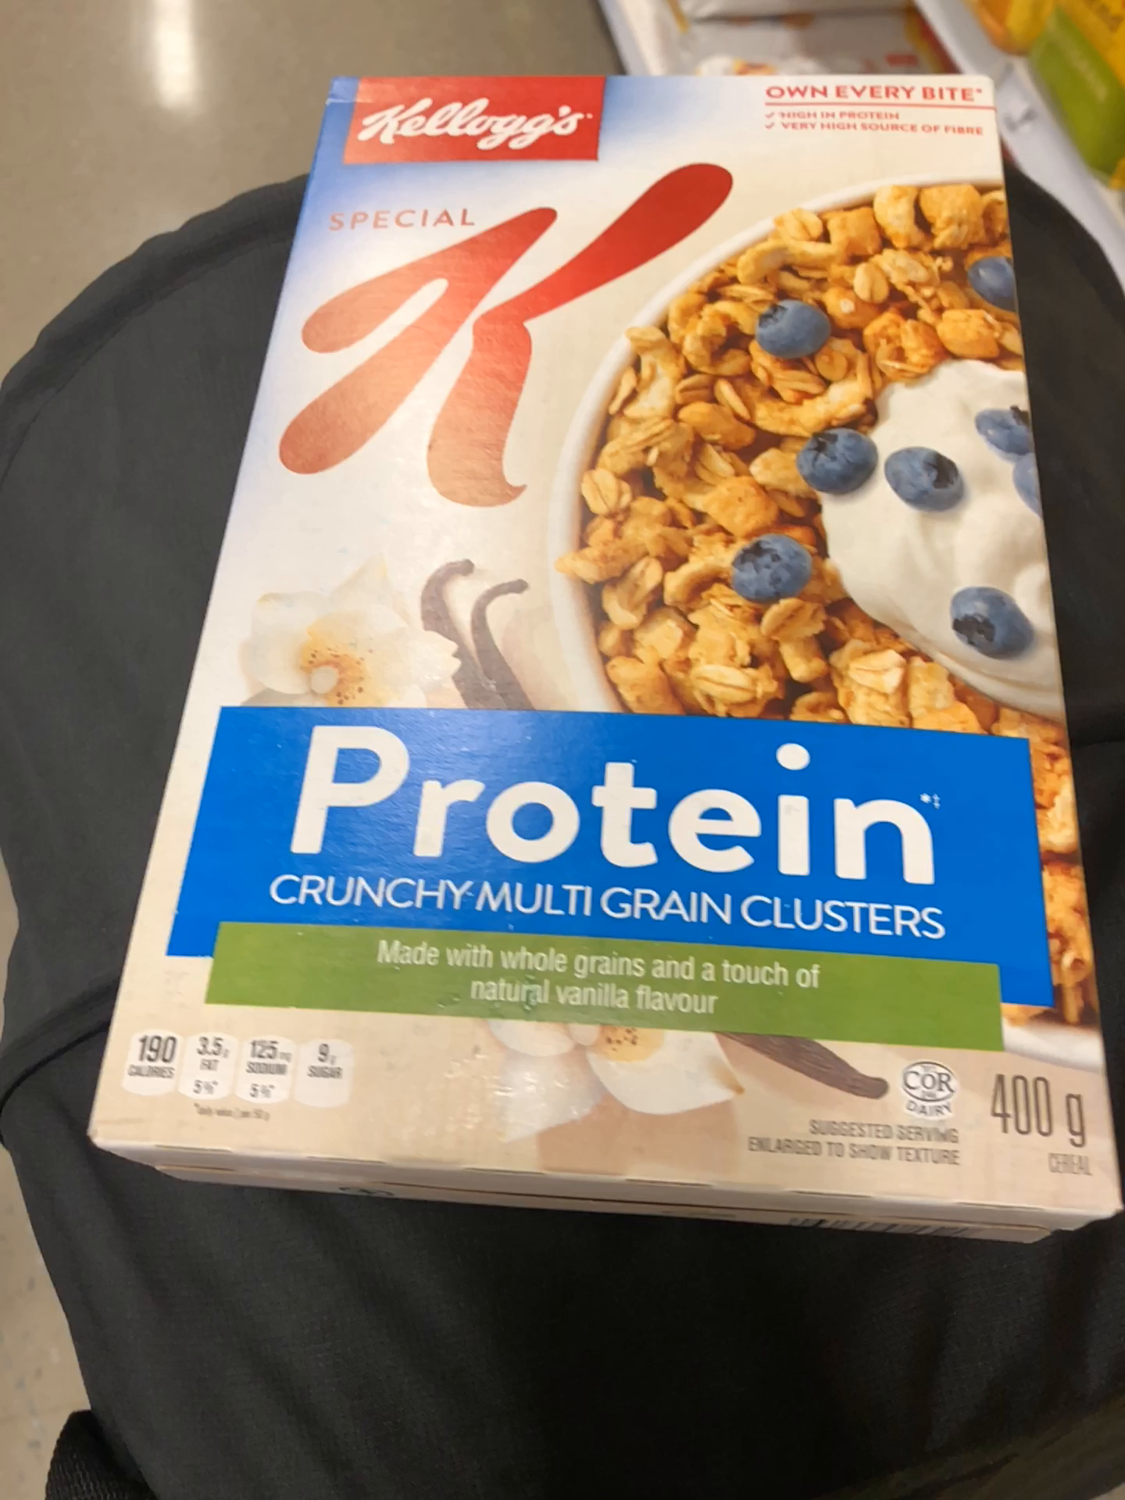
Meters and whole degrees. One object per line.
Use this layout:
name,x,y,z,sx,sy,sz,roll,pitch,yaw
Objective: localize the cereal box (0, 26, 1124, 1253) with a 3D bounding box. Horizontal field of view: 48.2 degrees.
cereal box,0.005,-0.046,0.271,0.190,0.050,0.270,2,63,6
